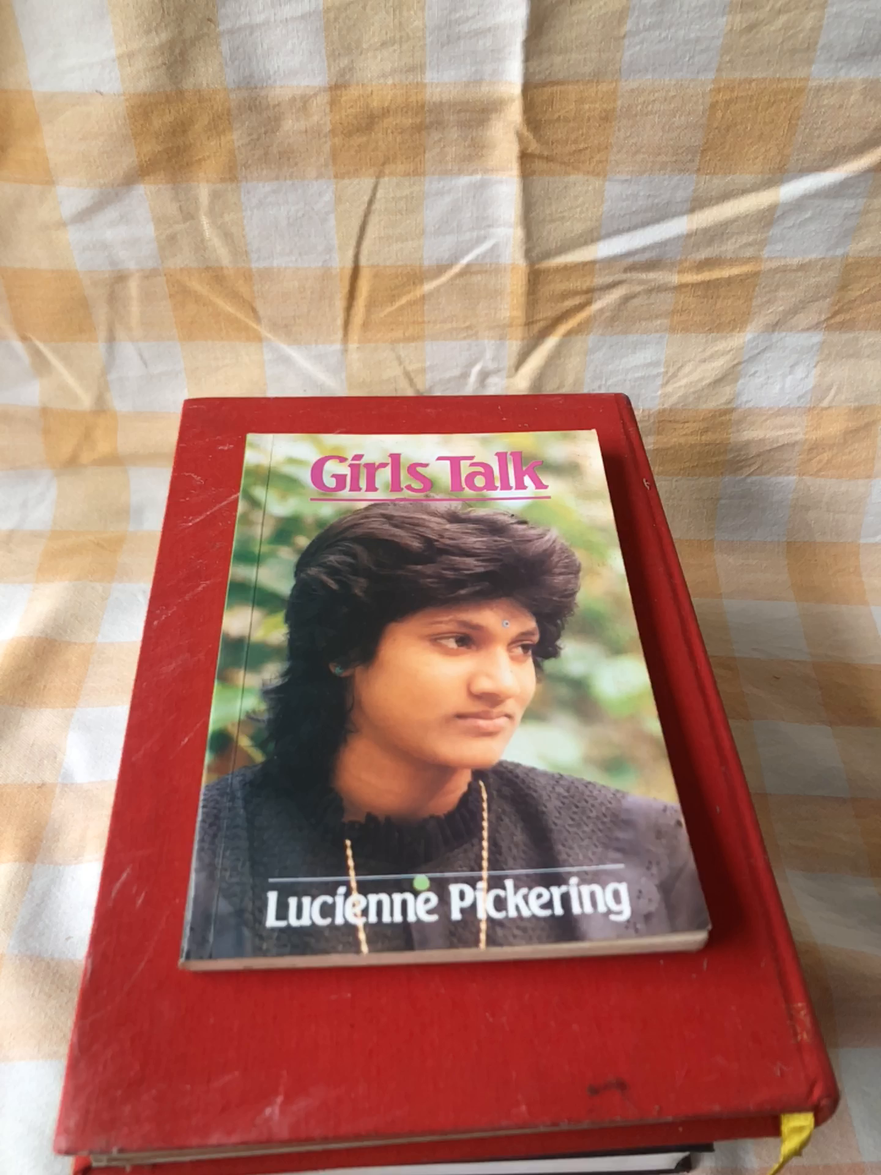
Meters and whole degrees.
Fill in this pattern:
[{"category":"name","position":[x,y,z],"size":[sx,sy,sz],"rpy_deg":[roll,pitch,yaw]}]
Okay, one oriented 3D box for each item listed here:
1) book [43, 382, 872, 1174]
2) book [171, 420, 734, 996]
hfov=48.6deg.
[{"category":"book","position":[-0.003,0.028,0.297],"size":[0.174,0.031,0.250],"rpy_deg":[-2,49,-4]},{"category":"book","position":[-0.001,0.021,0.293],"size":[0.130,0.025,0.183],"rpy_deg":[-1,50,-3]}]
